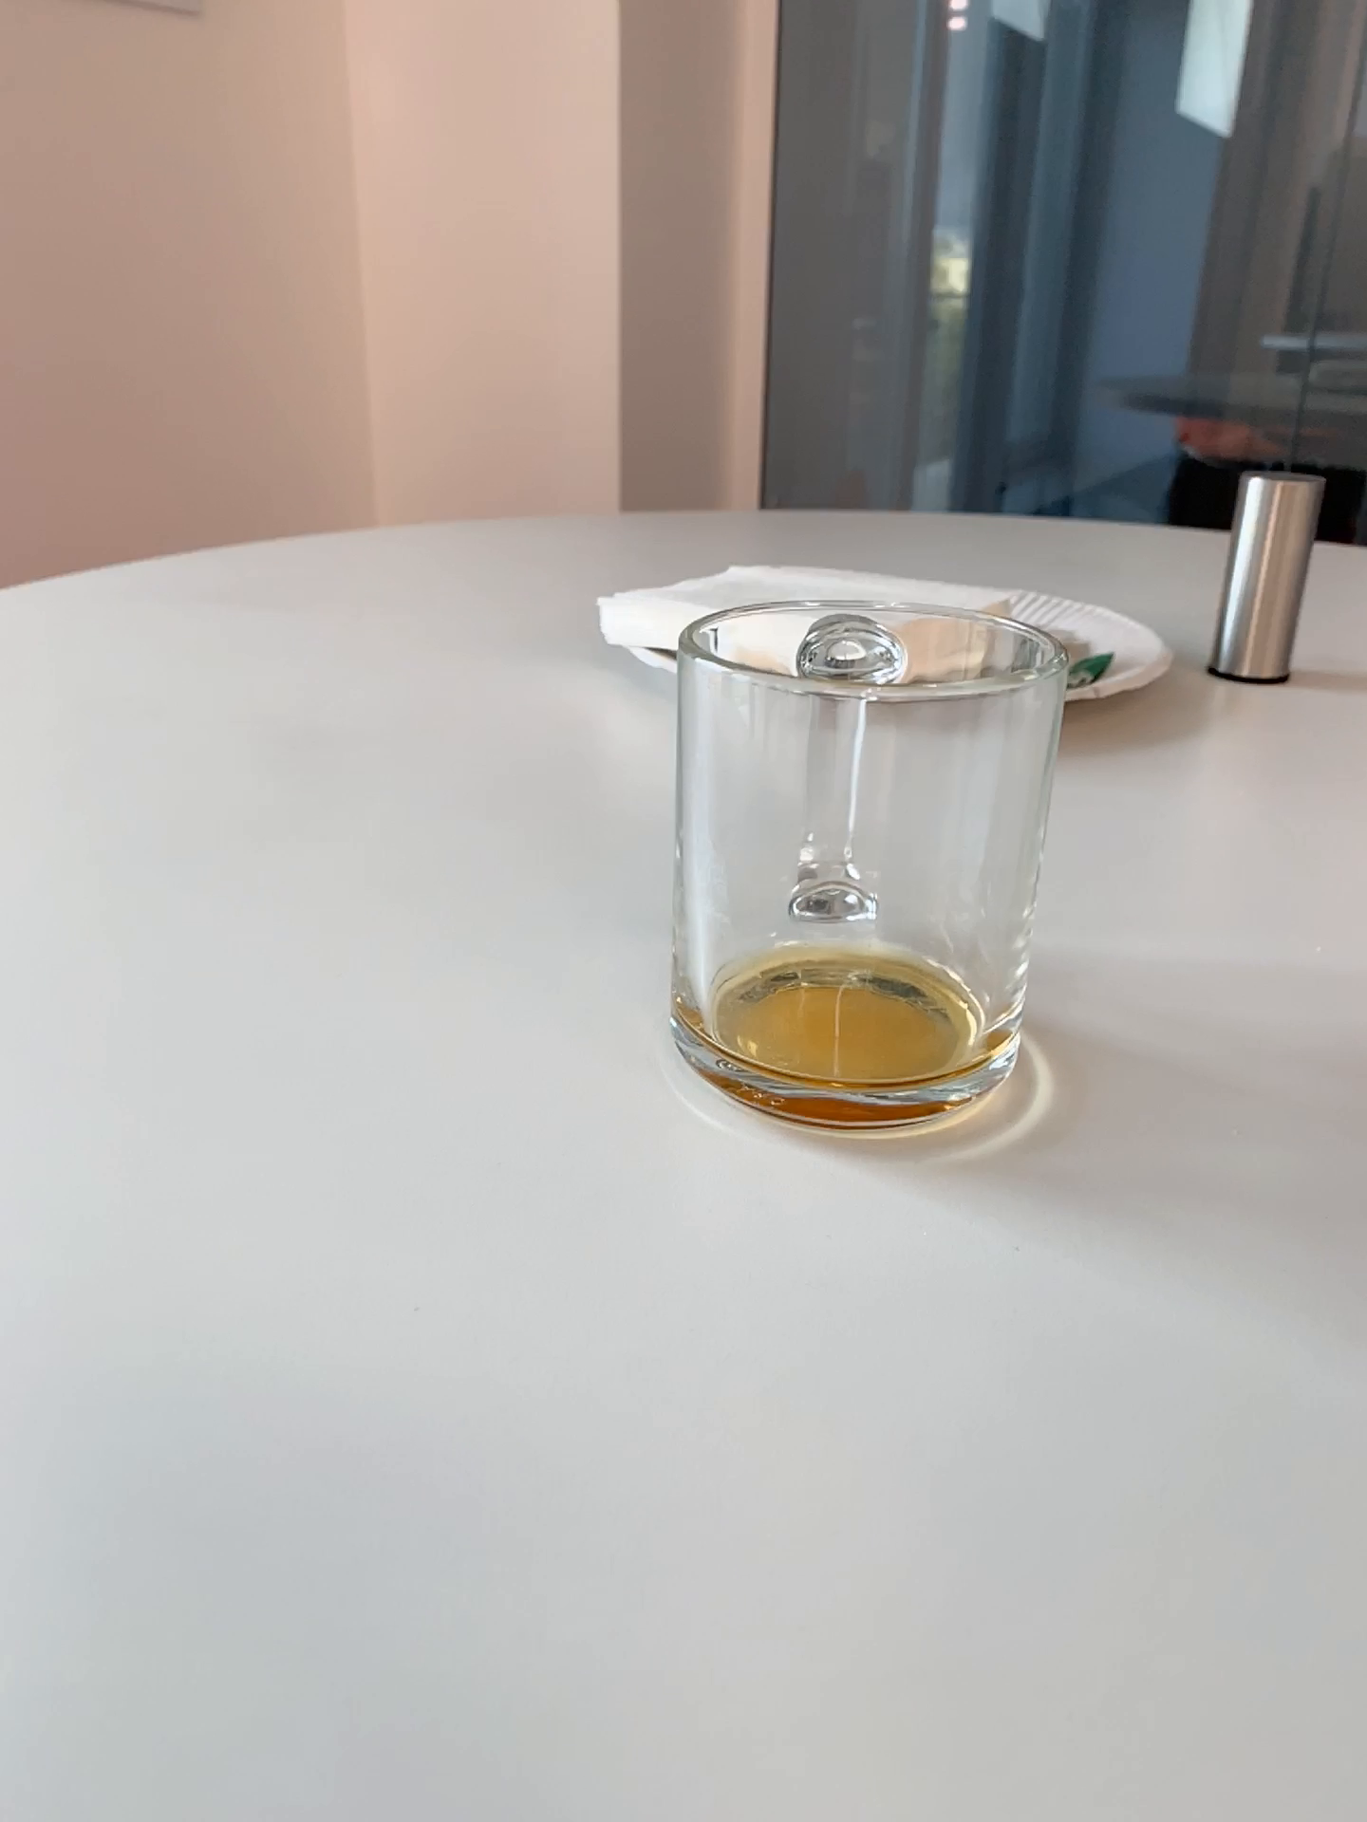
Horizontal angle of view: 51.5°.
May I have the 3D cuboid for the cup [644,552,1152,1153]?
[{"bbox_3d":[0.038,-0.019,0.296,0.082,0.090,0.102,3,24,4],"label":"cup"}]
